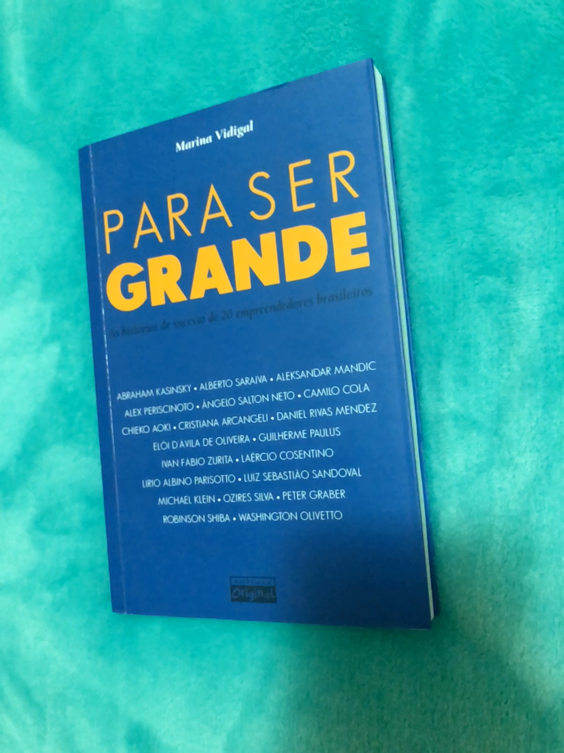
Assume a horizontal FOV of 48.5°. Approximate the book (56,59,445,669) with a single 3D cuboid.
[{"bbox_3d":[-0.019,0.000,0.248,0.140,0.030,0.200,-6,88,25],"label":"book"}]
